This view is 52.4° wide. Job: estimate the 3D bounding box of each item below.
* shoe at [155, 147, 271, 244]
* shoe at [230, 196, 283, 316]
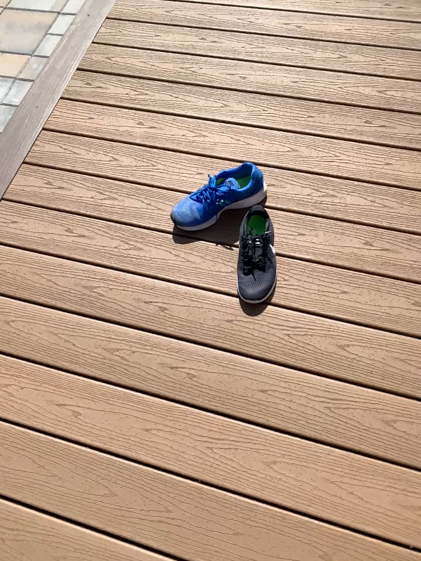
[{"bbox_3d":[0.011,-0.239,1.215,0.290,0.130,0.120,-23,64,-6],"label":"shoe"},{"bbox_3d":[0.121,-0.067,1.102,0.120,0.110,0.290,2,64,6],"label":"shoe"}]
